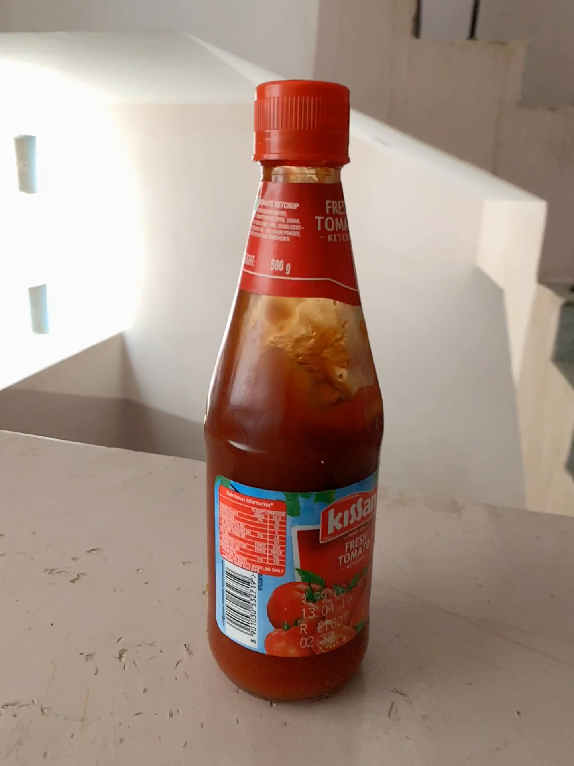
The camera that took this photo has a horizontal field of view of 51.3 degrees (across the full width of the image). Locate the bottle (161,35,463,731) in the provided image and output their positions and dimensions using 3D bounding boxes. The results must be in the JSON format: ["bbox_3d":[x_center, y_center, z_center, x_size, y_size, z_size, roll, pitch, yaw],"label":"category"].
[{"bbox_3d":[0.004,0.003,0.227,0.070,0.219,0.070,2,17,-1],"label":"bottle"}]
